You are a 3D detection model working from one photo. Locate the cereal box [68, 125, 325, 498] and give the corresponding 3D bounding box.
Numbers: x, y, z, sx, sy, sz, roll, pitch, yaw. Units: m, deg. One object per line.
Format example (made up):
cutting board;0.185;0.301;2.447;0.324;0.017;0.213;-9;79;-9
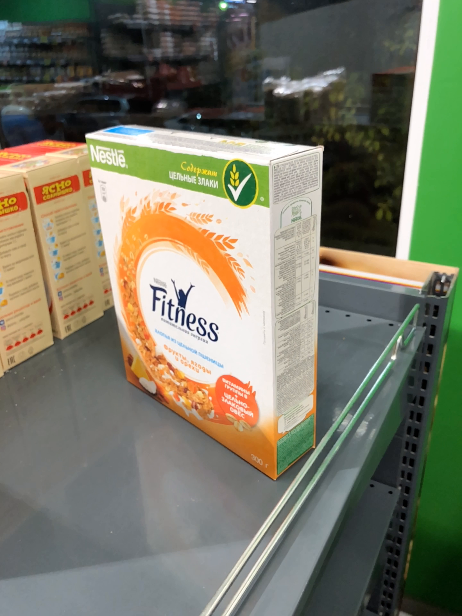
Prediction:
cereal box;-0.031;-0.008;0.405;0.060;0.239;0.201;-25;35;-38
